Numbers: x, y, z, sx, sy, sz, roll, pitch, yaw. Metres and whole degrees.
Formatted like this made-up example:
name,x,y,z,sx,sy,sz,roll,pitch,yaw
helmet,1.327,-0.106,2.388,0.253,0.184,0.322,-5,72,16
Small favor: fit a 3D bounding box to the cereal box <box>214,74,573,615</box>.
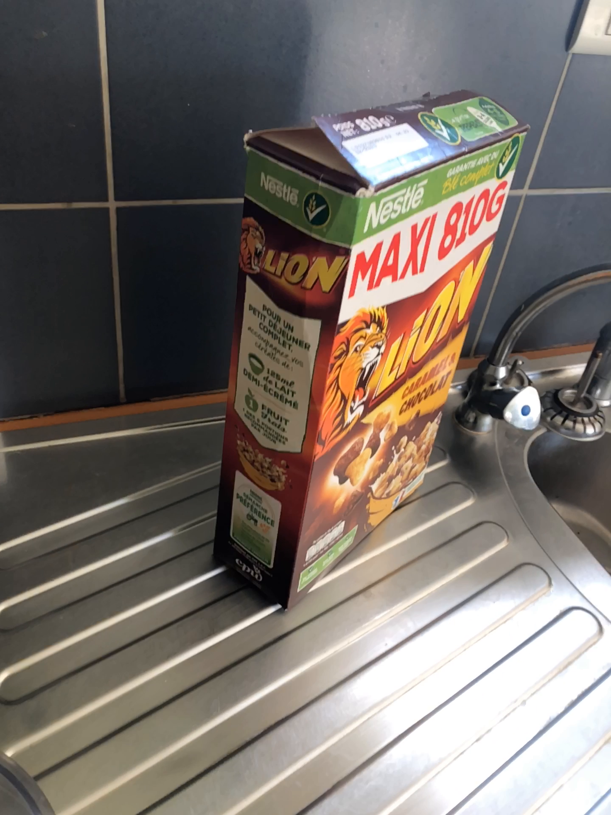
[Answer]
name,x,y,z,sx,sy,sz,roll,pitch,yaw
cereal box,0.047,-0.037,0.462,0.080,0.318,0.201,33,44,27
